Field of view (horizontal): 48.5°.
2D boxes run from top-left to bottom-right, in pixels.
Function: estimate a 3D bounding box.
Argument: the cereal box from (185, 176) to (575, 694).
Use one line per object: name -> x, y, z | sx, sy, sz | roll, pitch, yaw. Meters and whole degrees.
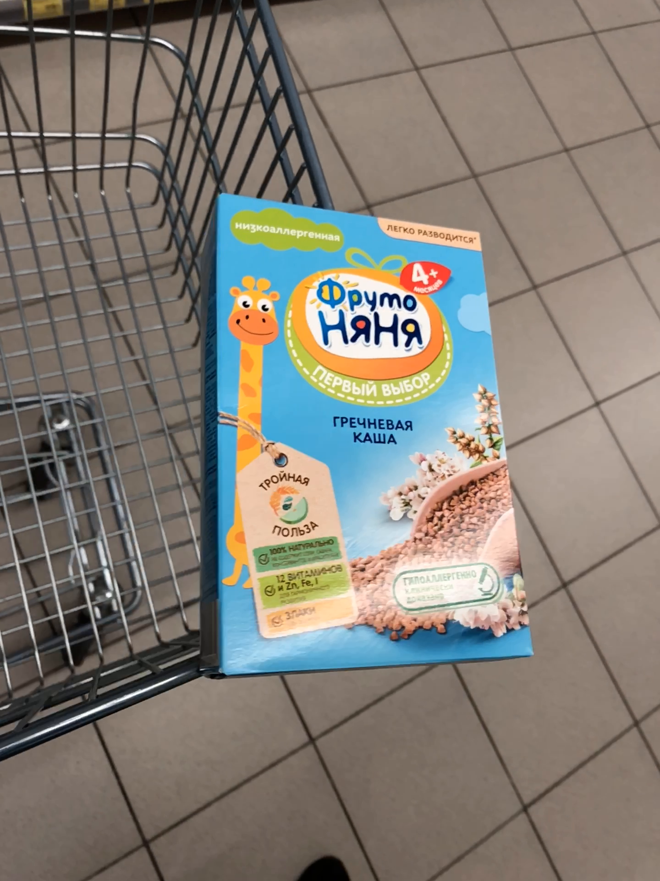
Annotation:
cereal box -> 0.014, -0.003, 0.328 | 0.150, 0.050, 0.210 | 3, 71, -18
